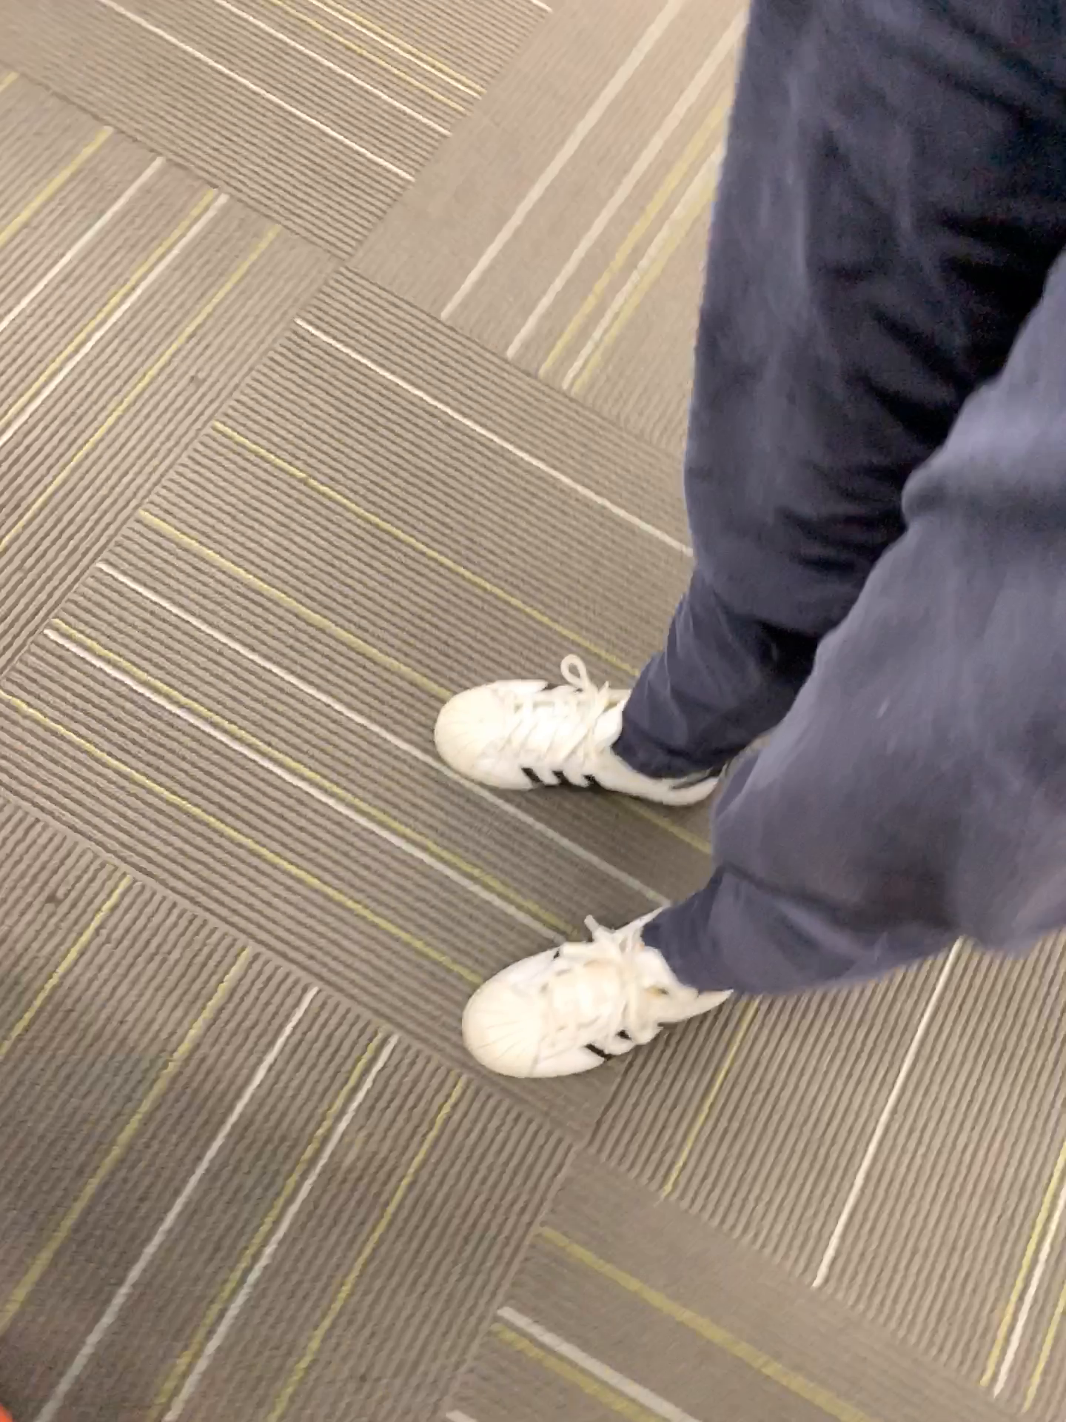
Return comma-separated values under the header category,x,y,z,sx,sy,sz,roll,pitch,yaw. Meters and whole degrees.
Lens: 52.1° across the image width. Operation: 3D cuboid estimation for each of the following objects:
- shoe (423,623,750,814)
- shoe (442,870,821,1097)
category,x,y,z,sx,sy,sz,roll,pitch,yaw
shoe,0.043,0.011,0.931,0.258,0.104,0.105,7,71,-6
shoe,0.071,0.215,0.859,0.262,0.104,0.108,-11,74,-12
